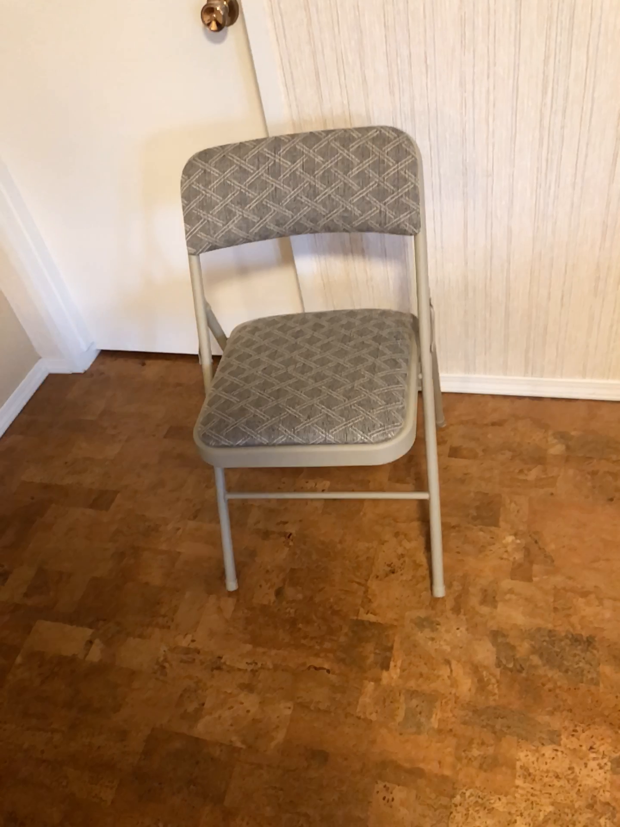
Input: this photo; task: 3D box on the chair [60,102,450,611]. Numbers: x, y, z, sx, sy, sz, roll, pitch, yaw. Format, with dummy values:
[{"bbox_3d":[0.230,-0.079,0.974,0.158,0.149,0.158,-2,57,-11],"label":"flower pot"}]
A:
[{"bbox_3d":[0.006,-0.074,1.312,0.490,0.757,0.562,-2,45,12],"label":"chair"}]
